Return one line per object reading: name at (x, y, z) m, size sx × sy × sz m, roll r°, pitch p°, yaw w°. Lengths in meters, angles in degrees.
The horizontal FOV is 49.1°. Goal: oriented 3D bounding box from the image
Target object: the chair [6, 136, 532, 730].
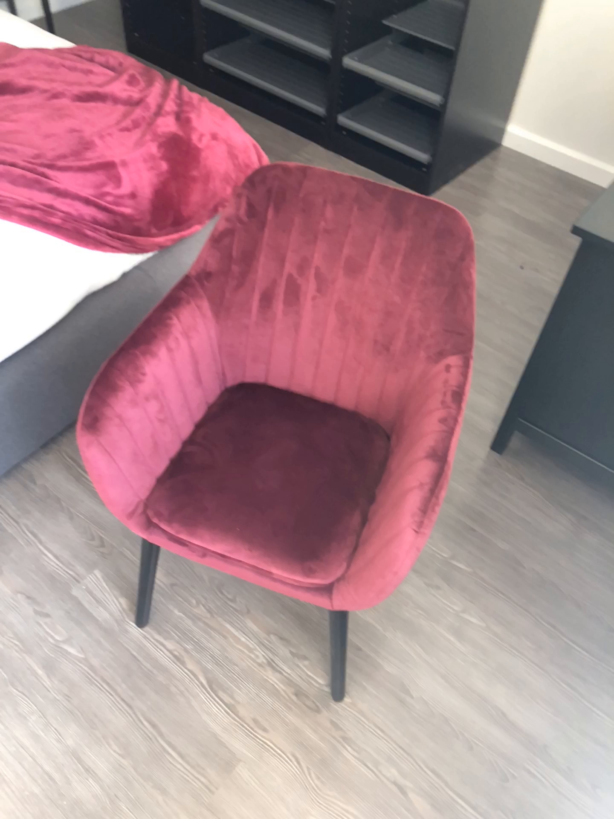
chair at (-0.035, 0.084, 1.238) m, size 0.540 × 0.836 × 0.553 m, roll 20°, pitch 51°, yaw 11°
